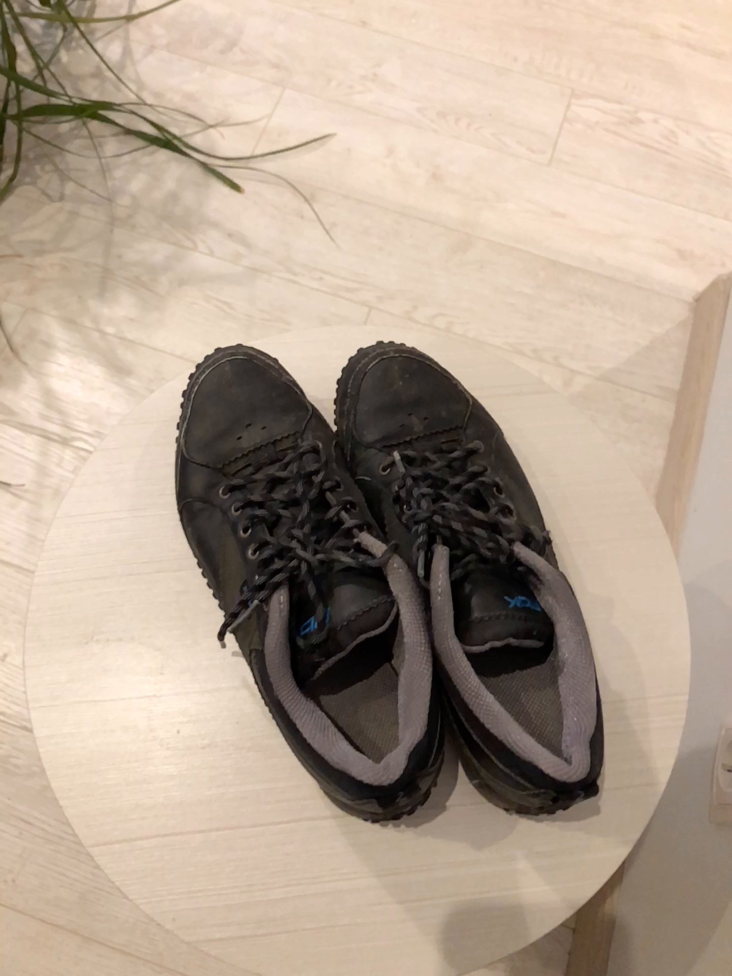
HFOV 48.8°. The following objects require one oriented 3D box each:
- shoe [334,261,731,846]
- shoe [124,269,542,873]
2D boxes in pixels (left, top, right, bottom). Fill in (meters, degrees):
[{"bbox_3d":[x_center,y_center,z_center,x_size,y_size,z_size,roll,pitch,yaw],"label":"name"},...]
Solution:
[{"bbox_3d":[0.073,0.030,0.432,0.110,0.100,0.271,-14,71,-8],"label":"shoe"},{"bbox_3d":[-0.026,0.037,0.426,0.110,0.100,0.271,-19,71,-9],"label":"shoe"}]
